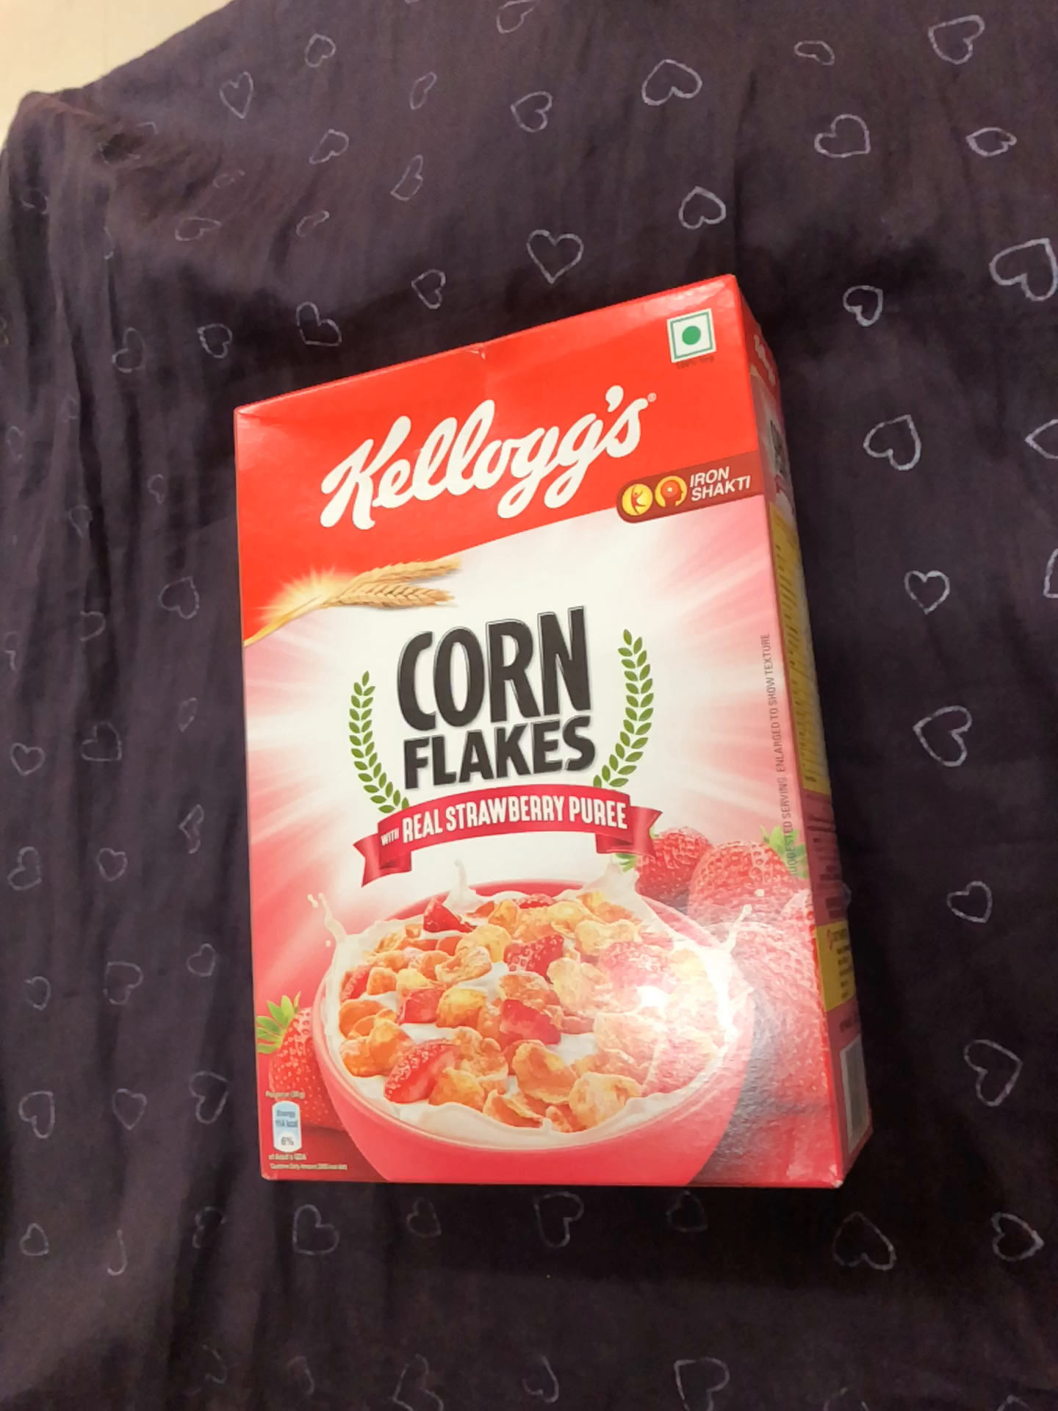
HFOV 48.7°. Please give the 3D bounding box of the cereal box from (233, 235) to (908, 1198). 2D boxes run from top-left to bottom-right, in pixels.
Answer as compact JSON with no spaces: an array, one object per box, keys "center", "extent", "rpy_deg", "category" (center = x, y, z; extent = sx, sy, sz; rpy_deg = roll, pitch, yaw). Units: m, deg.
[{"center":[0.007,0.011,0.389],"extent":[0.190,0.070,0.270],"rpy_deg":[-8,80,21],"category":"cereal box"}]
